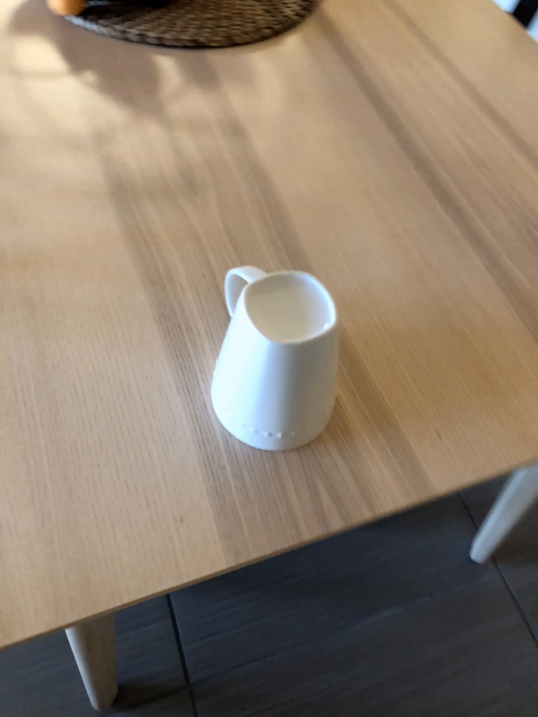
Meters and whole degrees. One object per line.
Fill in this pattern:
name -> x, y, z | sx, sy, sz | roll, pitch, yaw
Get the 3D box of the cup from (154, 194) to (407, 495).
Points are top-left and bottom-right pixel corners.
cup -> -0.001, -0.009, 0.410 | 0.100, 0.120, 0.140 | -21, 61, -18
